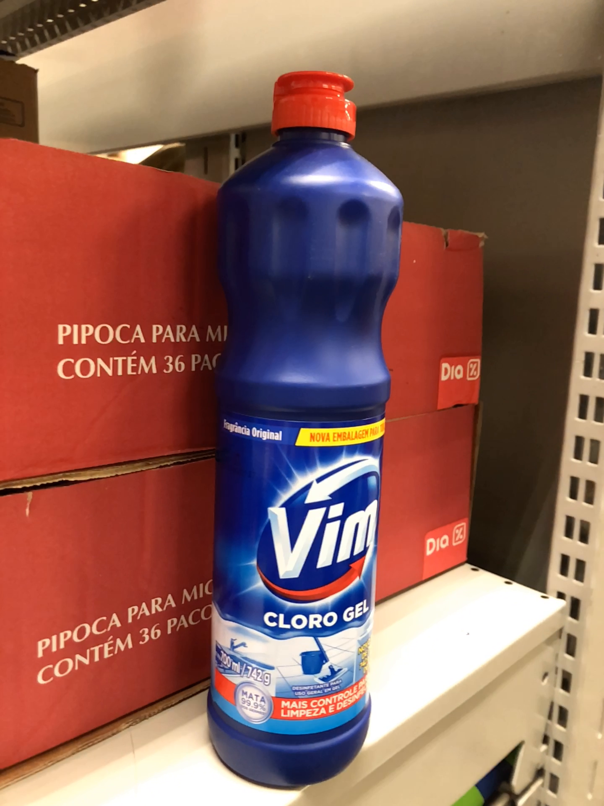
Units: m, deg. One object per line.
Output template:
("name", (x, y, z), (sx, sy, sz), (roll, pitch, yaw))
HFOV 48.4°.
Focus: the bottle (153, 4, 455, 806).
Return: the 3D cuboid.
("bottle", (-0.005, 0.009, 0.223), (0.070, 0.229, 0.060), (-5, 13, -27))
